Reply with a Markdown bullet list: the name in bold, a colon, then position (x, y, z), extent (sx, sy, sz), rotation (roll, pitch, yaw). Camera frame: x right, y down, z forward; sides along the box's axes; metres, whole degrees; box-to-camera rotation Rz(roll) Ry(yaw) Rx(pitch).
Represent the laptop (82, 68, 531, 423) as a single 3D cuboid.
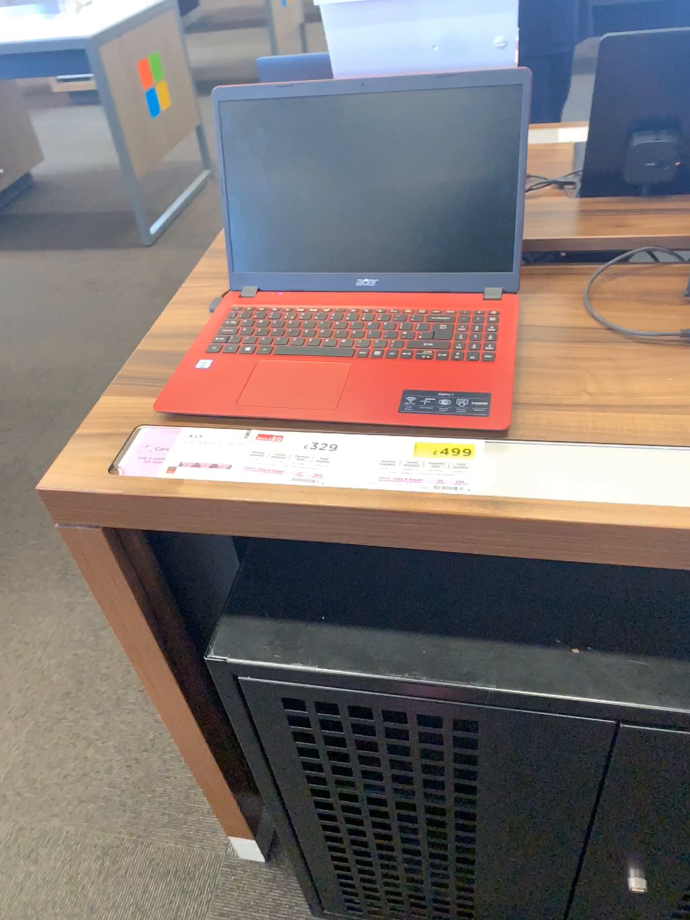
- **laptop**: position (-0.001, -0.232, 0.732), extent (0.356, 0.213, 0.323), rotation (3, 42, 13)
